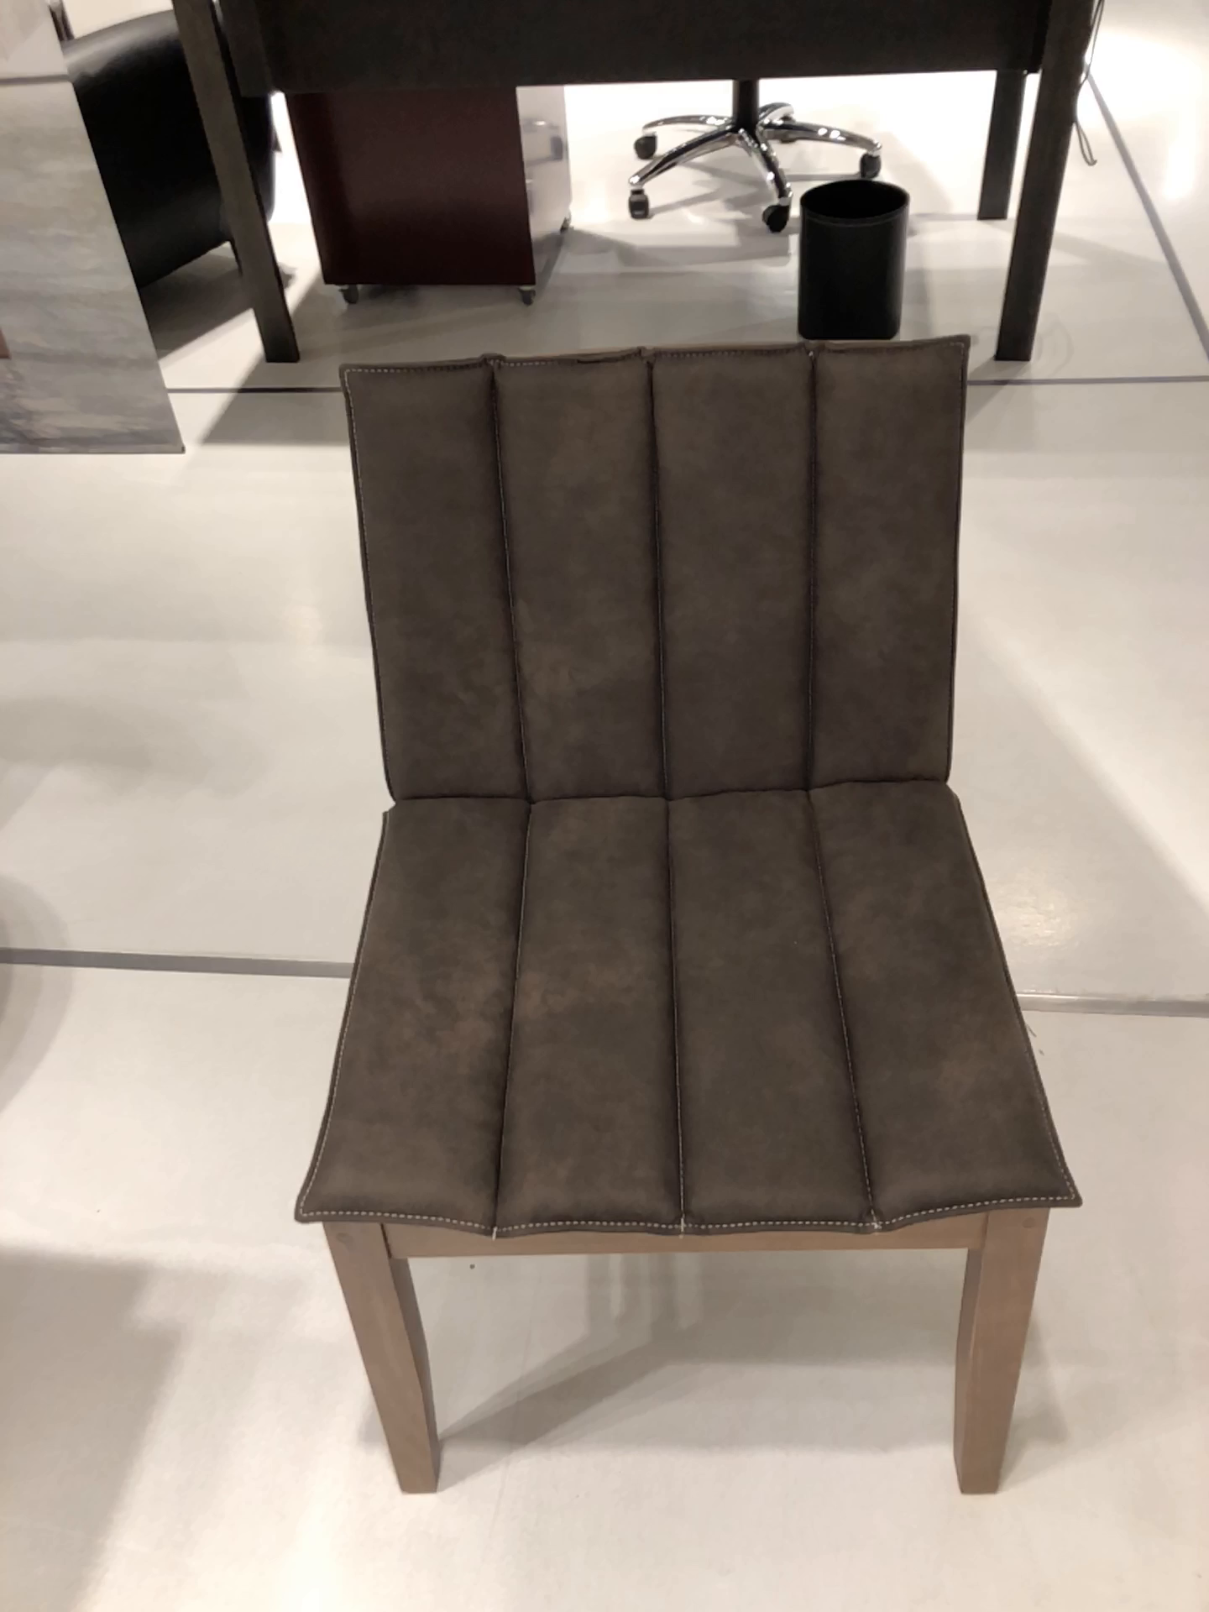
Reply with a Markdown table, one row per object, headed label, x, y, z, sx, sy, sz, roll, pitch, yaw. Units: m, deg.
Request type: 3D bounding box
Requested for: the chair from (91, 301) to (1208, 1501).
| label | x | y | z | sx | sy | sz | roll | pitch | yaw |
| --- | --- | --- | --- | --- | --- | --- | --- | --- | --- |
| chair | 0.071 | 0.113 | 1.063 | 0.540 | 0.775 | 0.574 | -2 | 44 | 4 |
